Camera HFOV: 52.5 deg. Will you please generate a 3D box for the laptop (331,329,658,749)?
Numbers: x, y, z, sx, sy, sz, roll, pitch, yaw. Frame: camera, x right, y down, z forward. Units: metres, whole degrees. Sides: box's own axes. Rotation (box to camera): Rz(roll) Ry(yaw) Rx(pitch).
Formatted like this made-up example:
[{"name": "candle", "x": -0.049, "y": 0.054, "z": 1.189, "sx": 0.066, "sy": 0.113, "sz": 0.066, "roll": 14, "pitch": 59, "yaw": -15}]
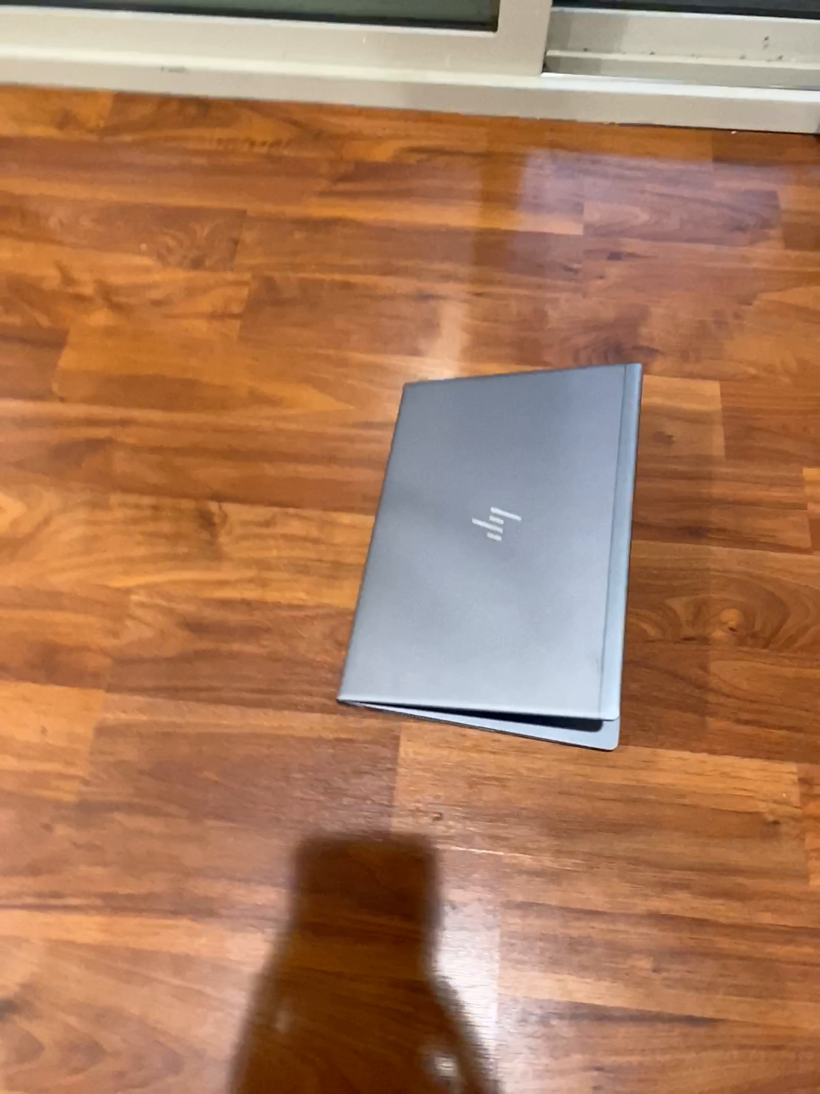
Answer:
[{"name": "laptop", "x": 0.081, "y": -0.017, "z": 0.717, "sx": 0.230, "sy": 0.078, "sz": 0.325, "roll": 9, "pitch": 65, "yaw": 3}]
